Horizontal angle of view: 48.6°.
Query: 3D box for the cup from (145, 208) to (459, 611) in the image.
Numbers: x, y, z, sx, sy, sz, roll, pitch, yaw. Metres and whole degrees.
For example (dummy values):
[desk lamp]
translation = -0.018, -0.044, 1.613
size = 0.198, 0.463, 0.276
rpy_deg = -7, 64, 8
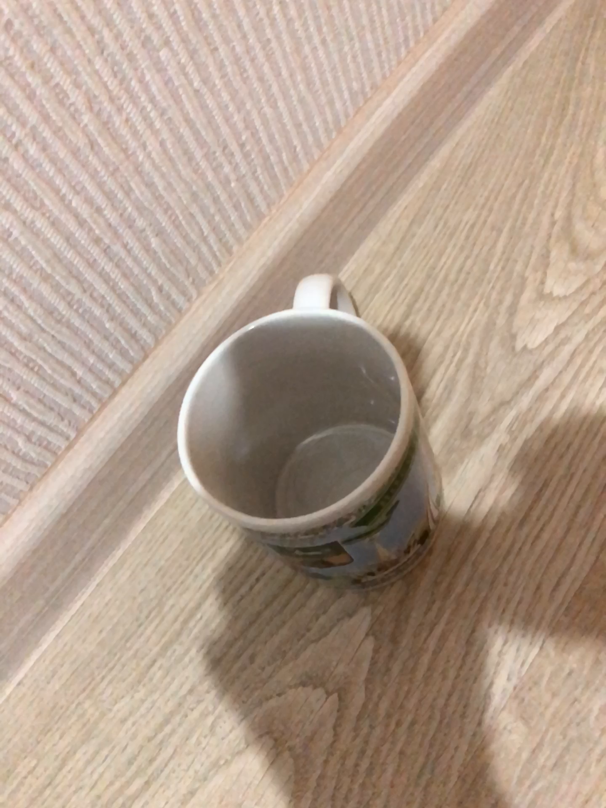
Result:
[cup]
translation = 0.012, 0.007, 0.265
size = 0.082, 0.096, 0.121
rpy_deg = -1, 63, 20
